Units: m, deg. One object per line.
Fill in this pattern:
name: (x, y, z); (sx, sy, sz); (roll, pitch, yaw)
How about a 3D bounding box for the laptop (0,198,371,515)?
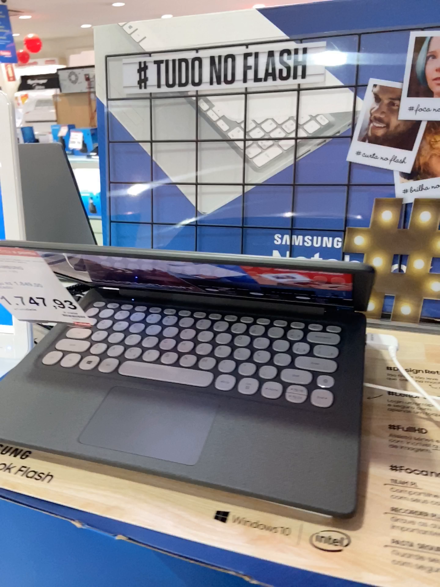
laptop: (-0.043, 0.017, 0.396); (0.323, 0.114, 0.212); (4, 33, 18)
